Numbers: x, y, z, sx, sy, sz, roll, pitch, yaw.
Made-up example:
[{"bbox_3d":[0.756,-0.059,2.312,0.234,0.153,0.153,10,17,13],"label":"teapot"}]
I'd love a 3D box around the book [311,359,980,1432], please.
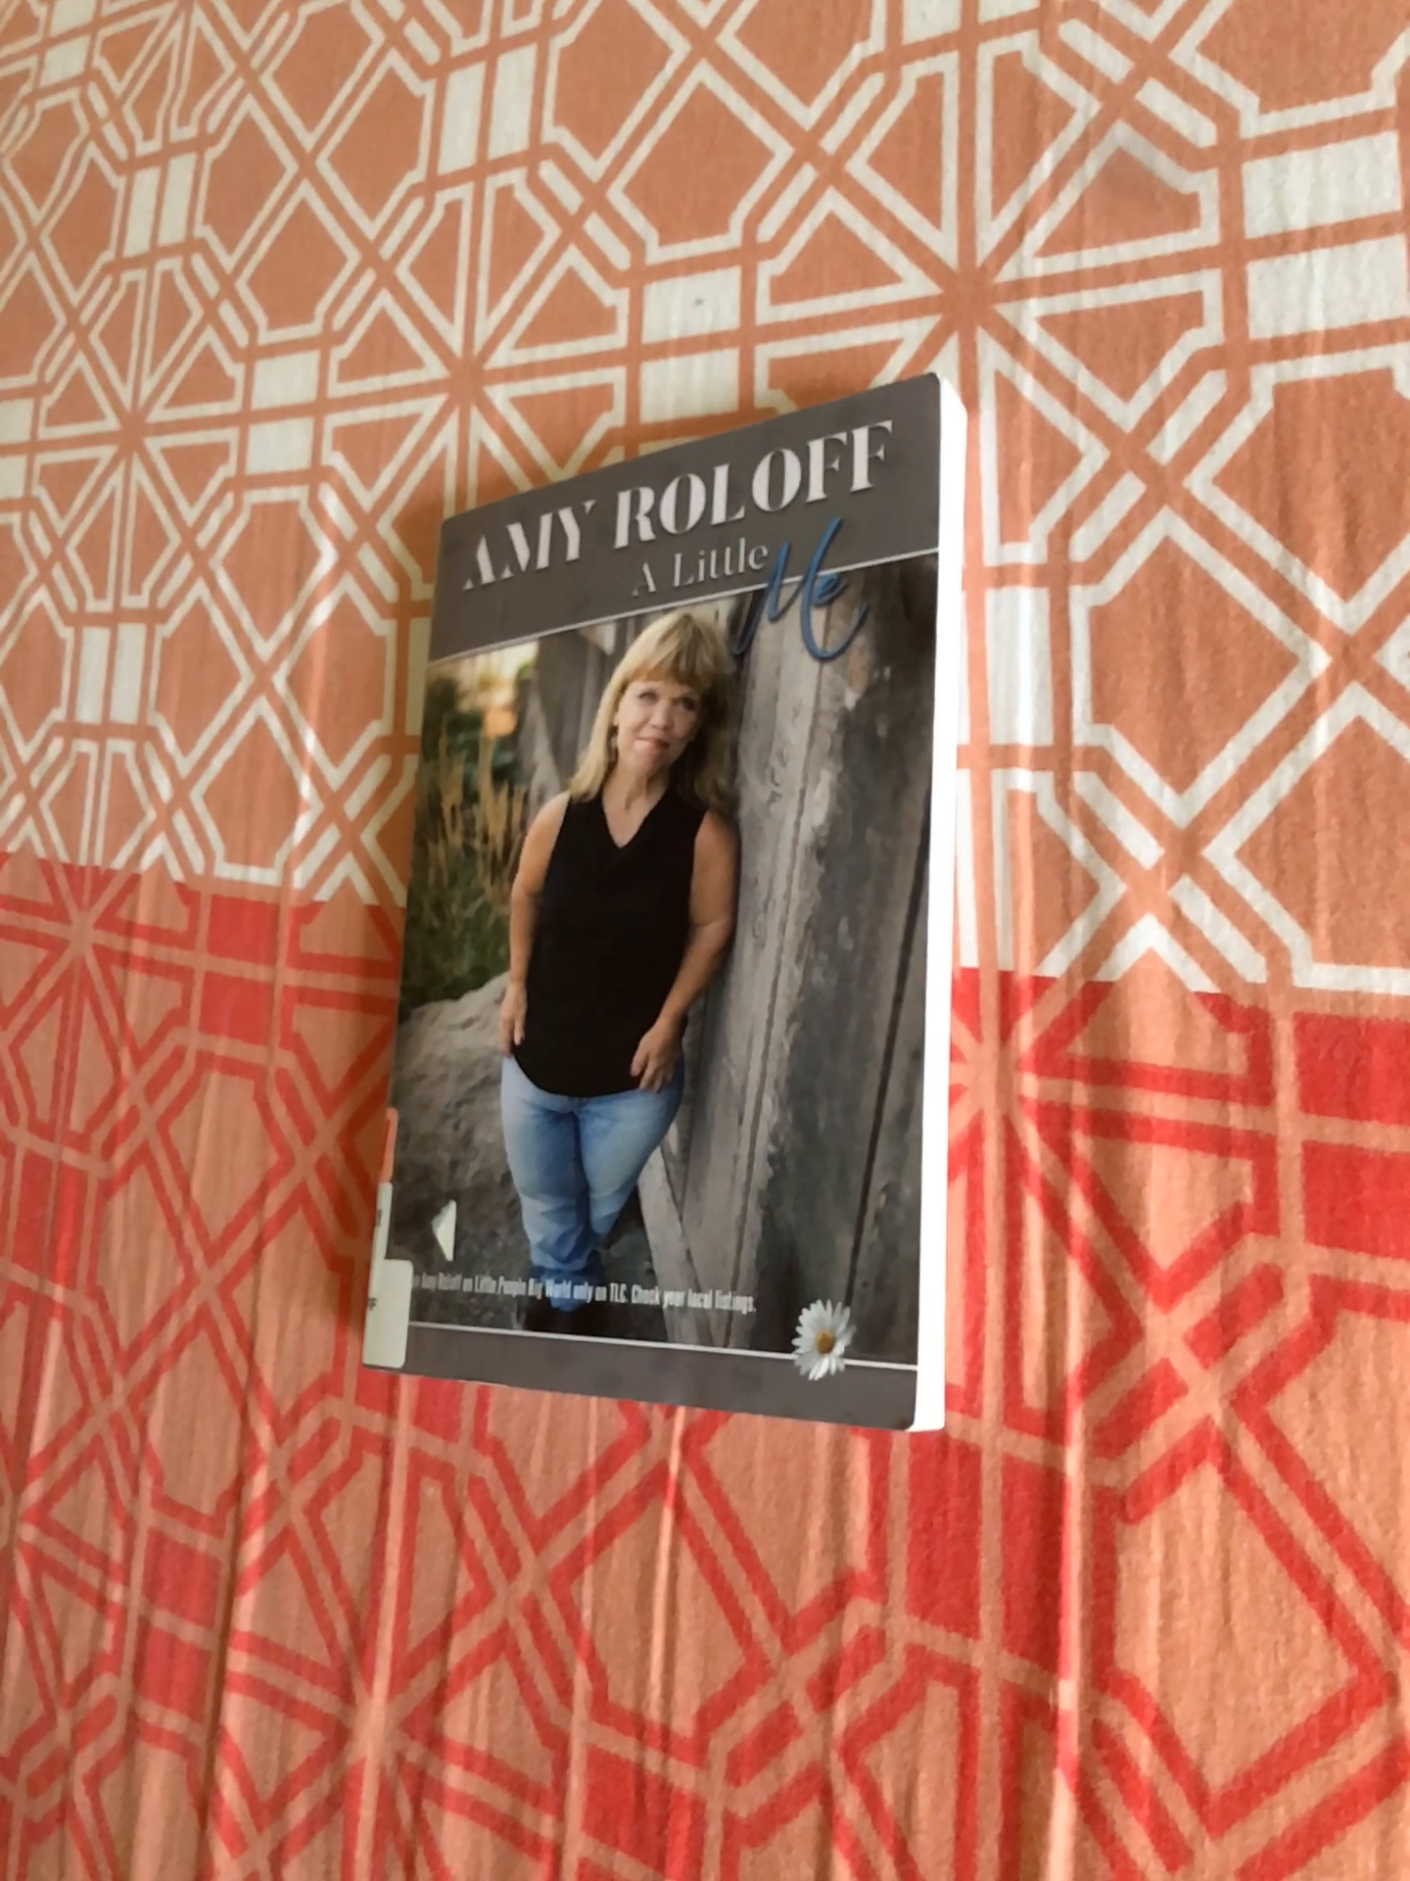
[{"bbox_3d":[-0.017,-0.008,0.364,0.158,0.030,0.215,-4,79,33],"label":"book"}]
